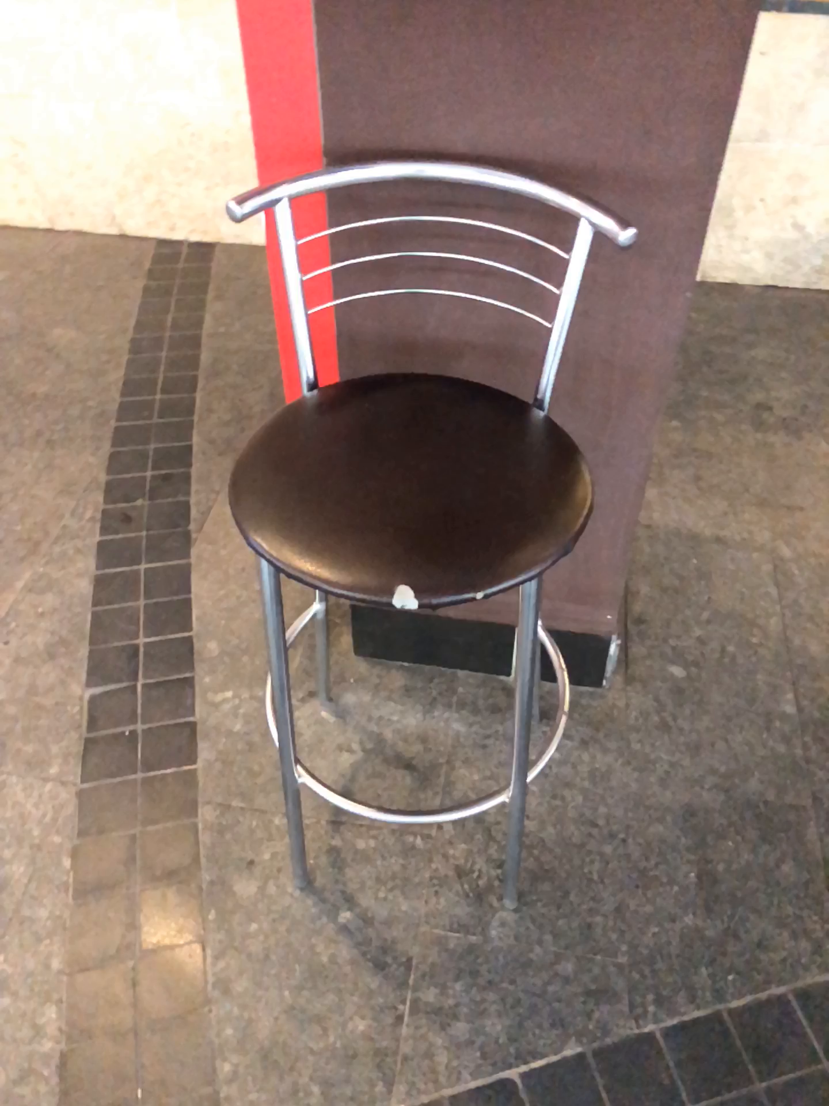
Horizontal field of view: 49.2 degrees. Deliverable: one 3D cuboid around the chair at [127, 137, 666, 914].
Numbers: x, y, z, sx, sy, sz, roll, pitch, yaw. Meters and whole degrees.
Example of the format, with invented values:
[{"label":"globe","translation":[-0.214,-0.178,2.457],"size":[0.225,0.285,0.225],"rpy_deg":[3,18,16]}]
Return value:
[{"label":"chair","translation":[-0.001,0.036,1.160],"size":[0.410,0.936,0.412],"rpy_deg":[4,44,3]}]
